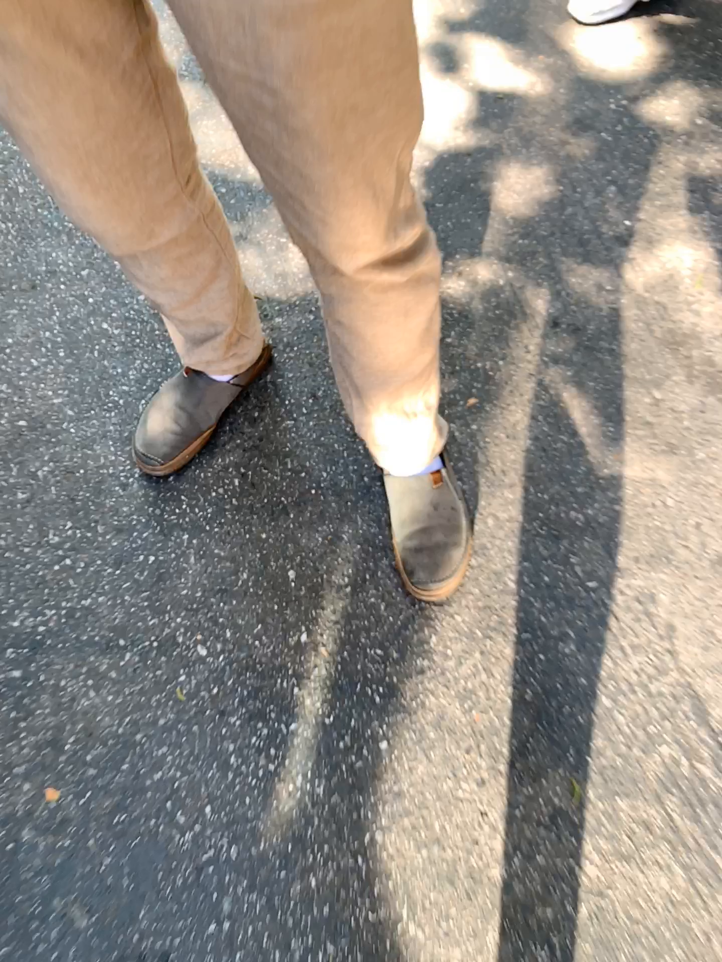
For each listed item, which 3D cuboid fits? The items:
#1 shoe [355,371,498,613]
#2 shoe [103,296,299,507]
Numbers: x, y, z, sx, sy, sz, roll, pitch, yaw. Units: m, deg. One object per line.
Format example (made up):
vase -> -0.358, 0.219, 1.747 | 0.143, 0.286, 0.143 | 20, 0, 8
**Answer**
shoe -> 0.083, 0.009, 1.036 | 0.120, 0.080, 0.321 | -11, 62, -3
shoe -> -0.230, -0.127, 1.112 | 0.120, 0.060, 0.321 | 25, 66, 15
